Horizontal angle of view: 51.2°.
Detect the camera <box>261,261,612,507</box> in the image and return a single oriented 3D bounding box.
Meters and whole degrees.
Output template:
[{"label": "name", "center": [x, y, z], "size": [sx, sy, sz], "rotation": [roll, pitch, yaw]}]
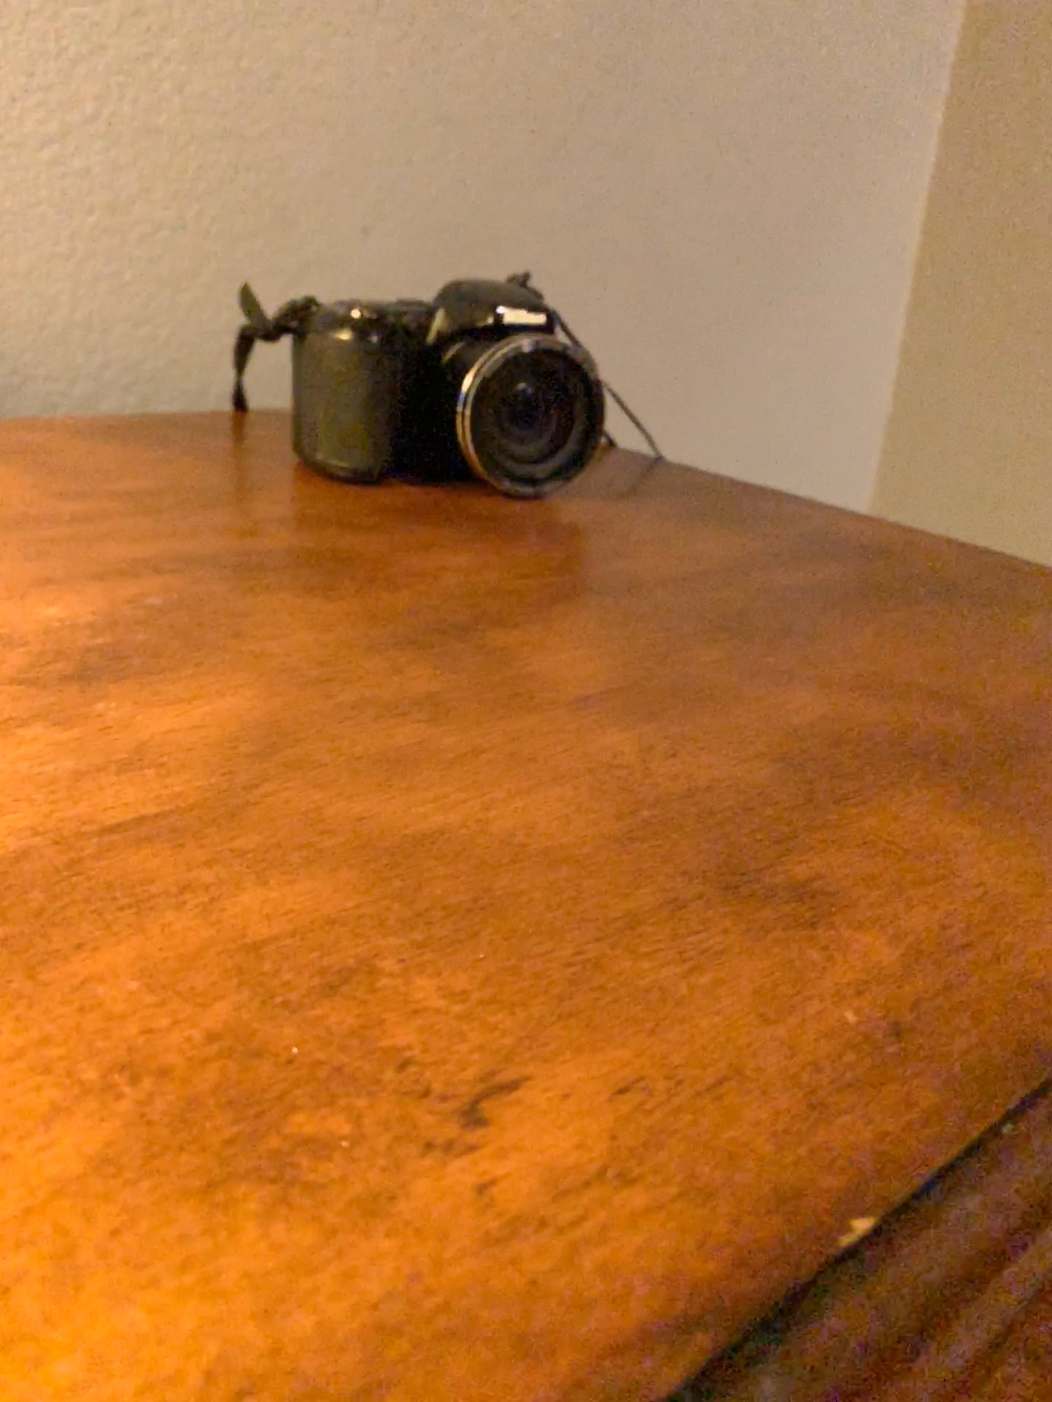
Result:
[{"label": "camera", "center": [-0.044, -0.139, 0.470], "size": [0.110, 0.081, 0.123], "rotation": [-6, 24, -24]}]
